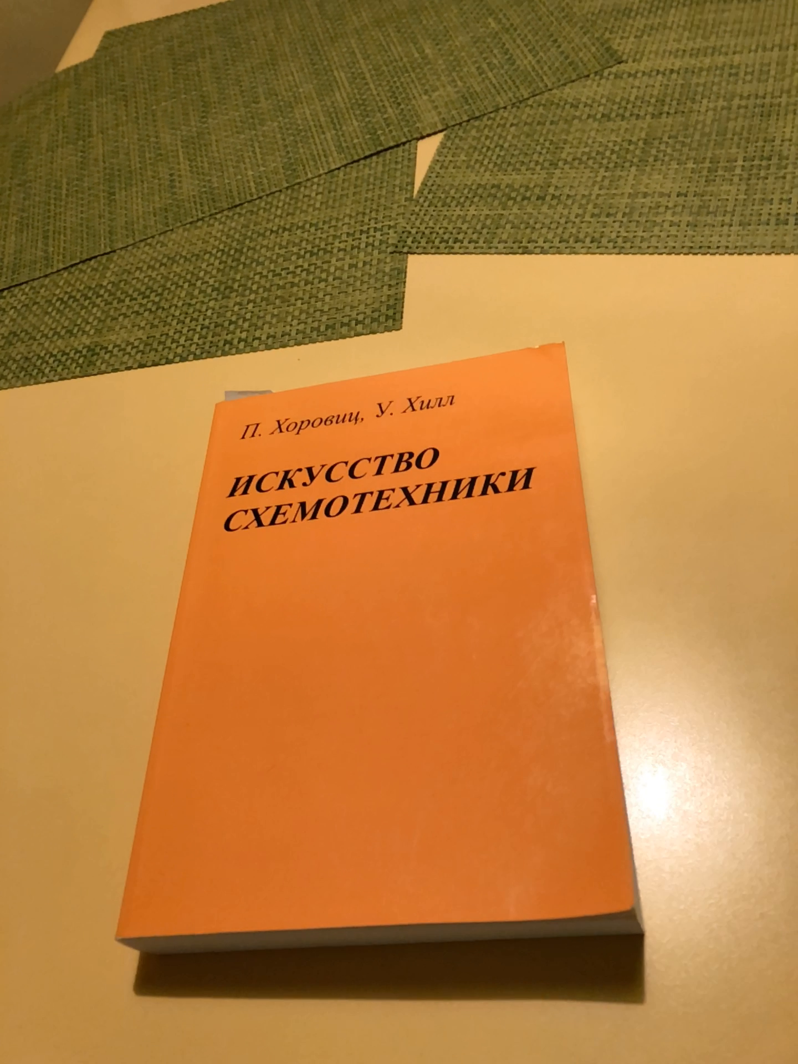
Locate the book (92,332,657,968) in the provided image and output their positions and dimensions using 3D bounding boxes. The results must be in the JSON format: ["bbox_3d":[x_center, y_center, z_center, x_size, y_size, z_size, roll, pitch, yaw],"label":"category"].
[{"bbox_3d":[-0.004,0.035,0.345,0.171,0.048,0.239,-7,53,12],"label":"book"}]
